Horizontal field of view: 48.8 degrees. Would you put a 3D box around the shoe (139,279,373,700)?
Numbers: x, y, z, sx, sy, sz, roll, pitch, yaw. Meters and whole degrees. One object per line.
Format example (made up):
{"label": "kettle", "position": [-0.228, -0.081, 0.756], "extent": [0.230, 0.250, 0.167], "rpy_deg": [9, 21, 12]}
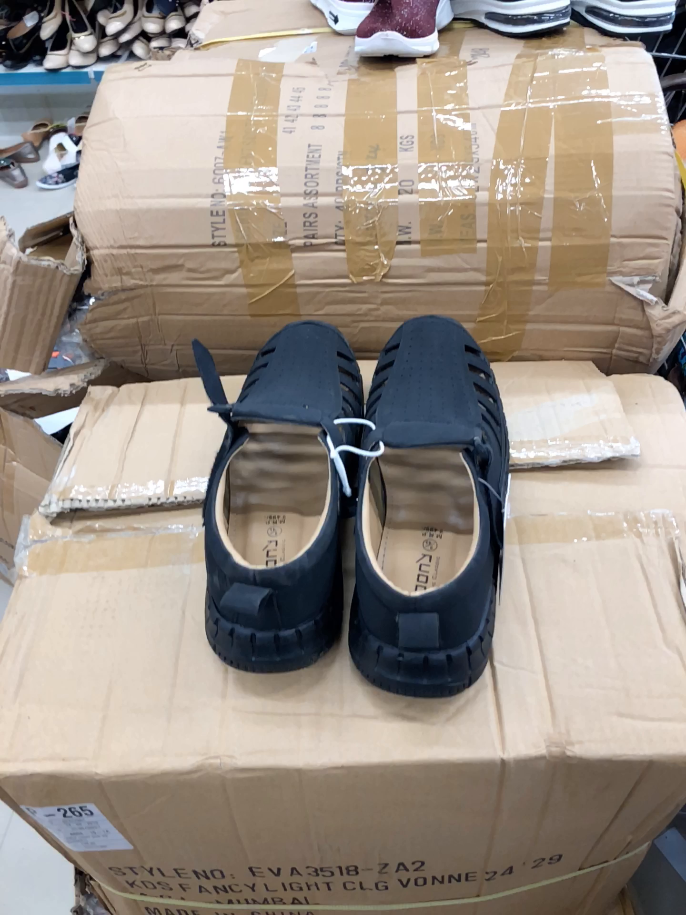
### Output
{"label": "shoe", "position": [-0.039, 0.003, 0.494], "extent": [0.110, 0.099, 0.282], "rpy_deg": [-1, 44, 2]}

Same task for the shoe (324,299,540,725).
{"label": "shoe", "position": [0.055, 0.016, 0.485], "extent": [0.100, 0.099, 0.272], "rpy_deg": [2, 44, 5]}
